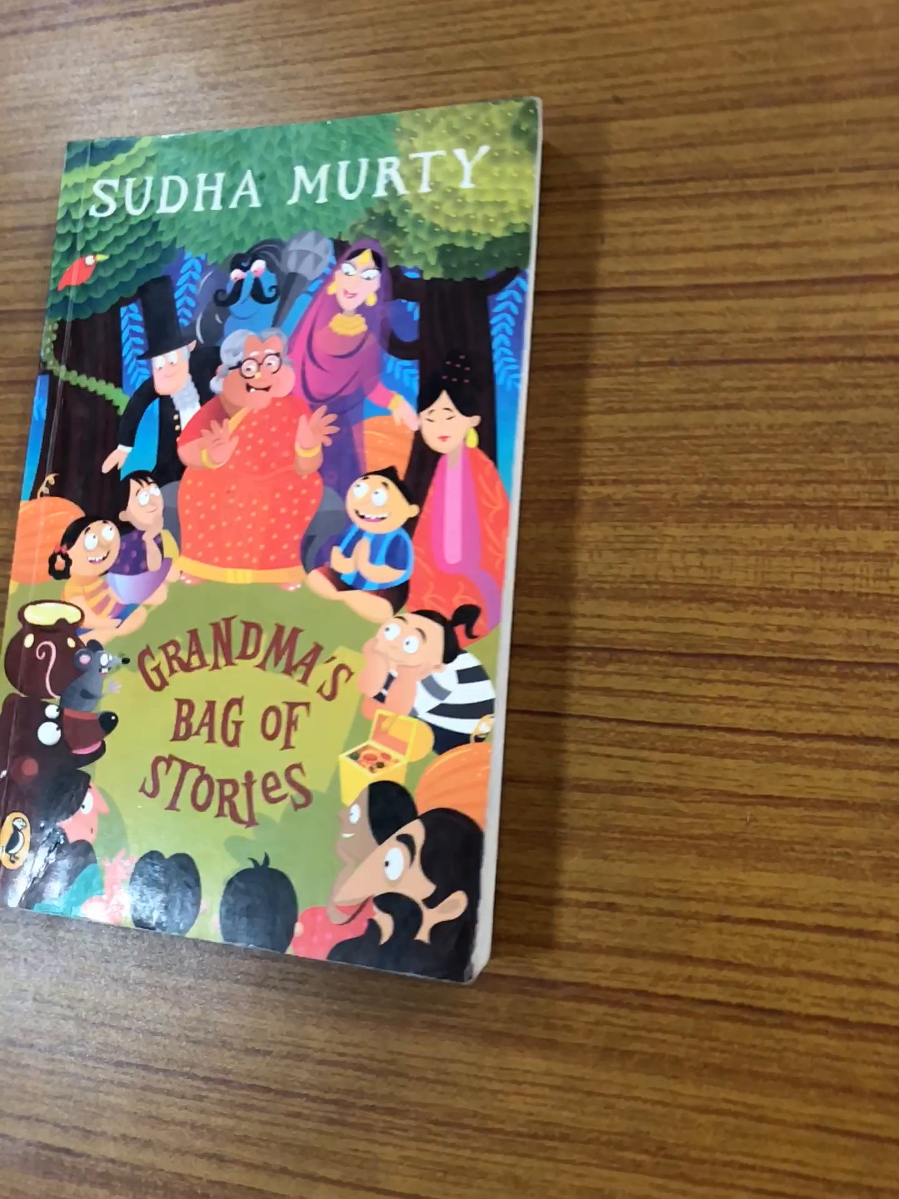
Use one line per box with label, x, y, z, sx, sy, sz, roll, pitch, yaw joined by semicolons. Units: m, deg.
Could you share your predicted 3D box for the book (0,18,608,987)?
book;-0.034;-0.027;0.247;0.130;0.030;0.210;2;83;16
